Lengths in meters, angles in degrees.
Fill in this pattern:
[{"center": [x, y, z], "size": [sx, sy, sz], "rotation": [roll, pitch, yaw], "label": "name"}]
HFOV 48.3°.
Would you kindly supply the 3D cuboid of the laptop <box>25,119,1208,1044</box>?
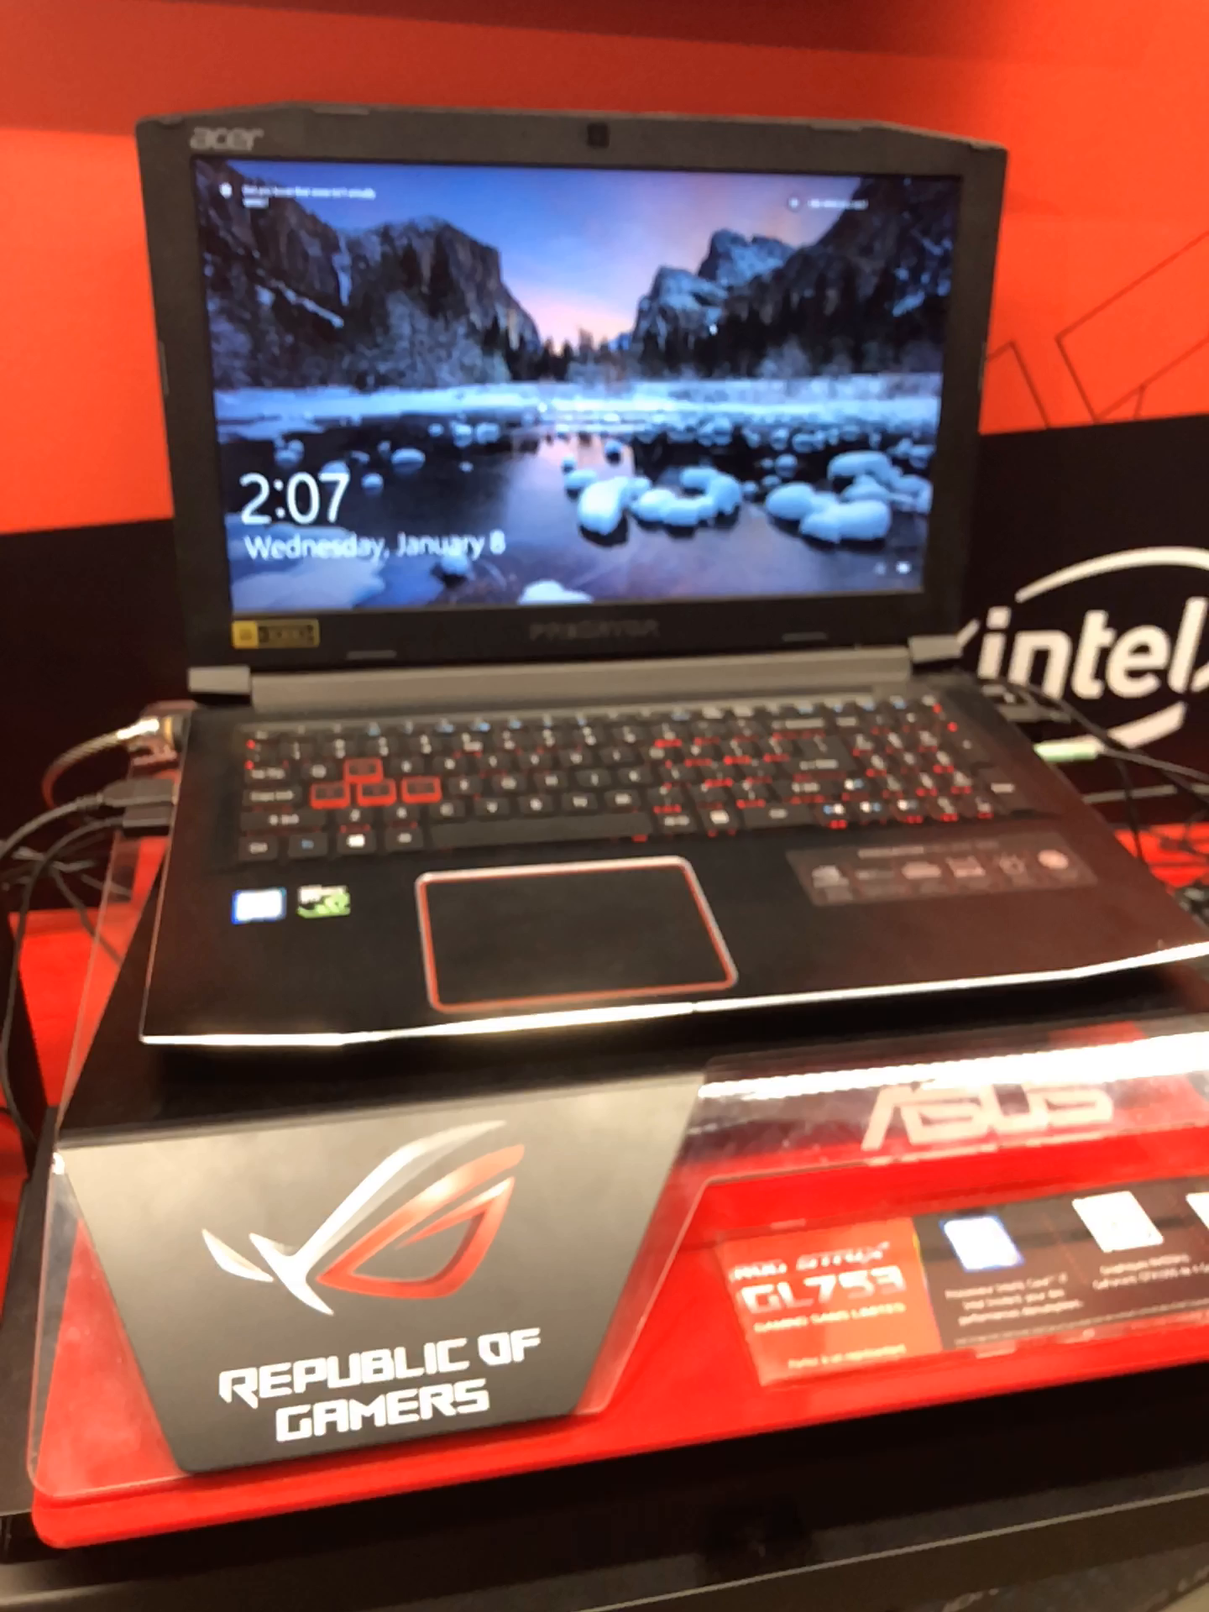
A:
[{"center": [0.020, -0.117, 0.534], "size": [0.385, 0.239, 0.295], "rotation": [-3, 31, -10], "label": "laptop"}]
